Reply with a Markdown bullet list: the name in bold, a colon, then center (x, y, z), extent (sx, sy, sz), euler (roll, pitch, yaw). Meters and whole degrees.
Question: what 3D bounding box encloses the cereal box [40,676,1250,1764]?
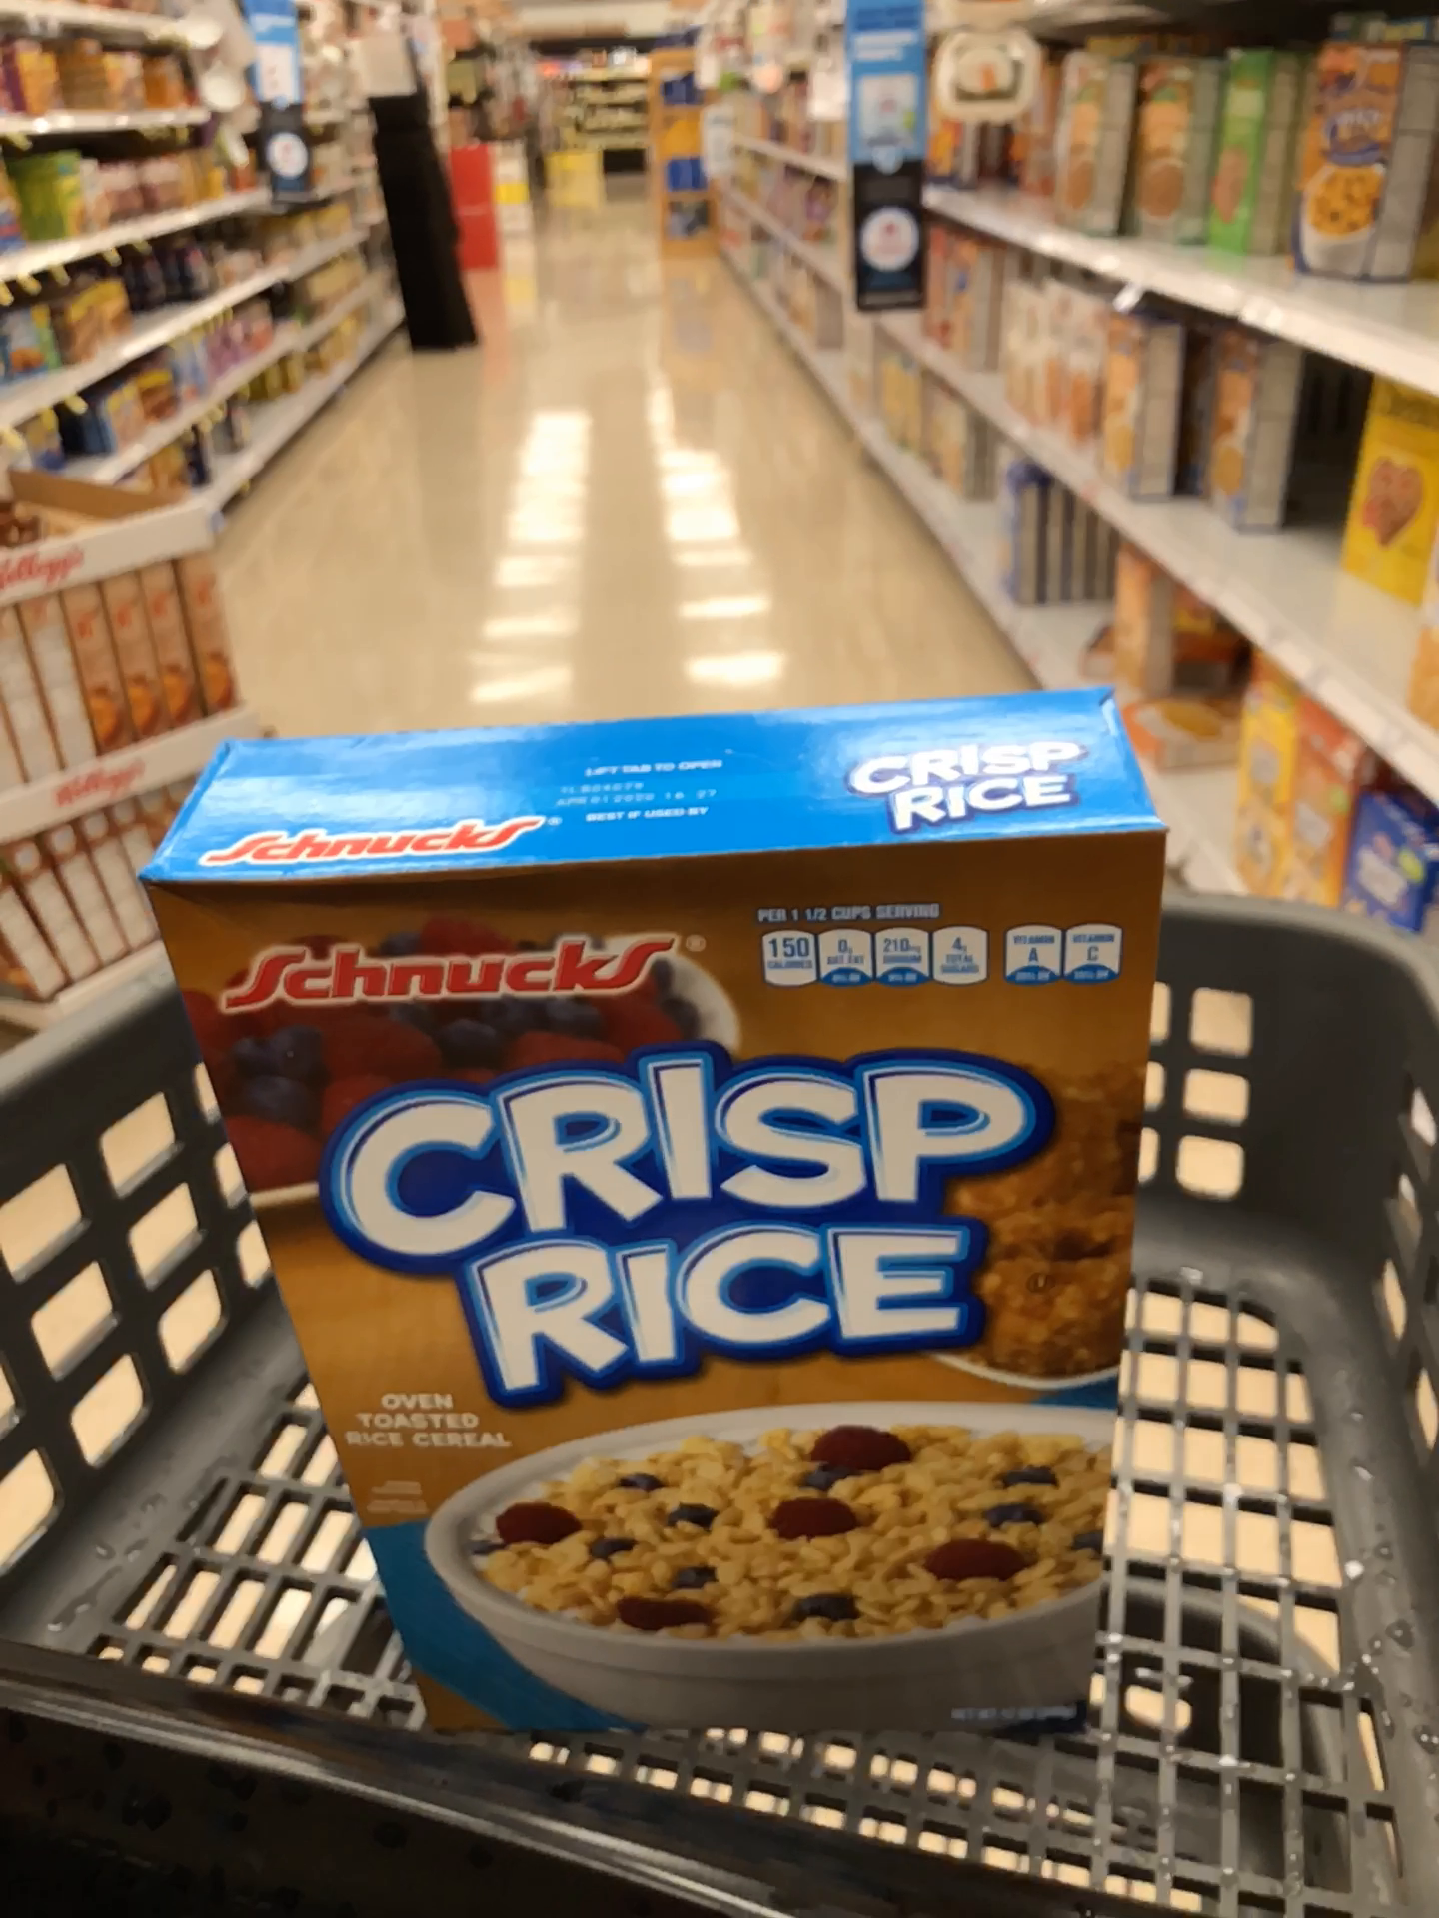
- **cereal box**: center (-0.006, 0.086, 0.400), extent (0.220, 0.299, 0.060), euler (-3, 34, 3)
